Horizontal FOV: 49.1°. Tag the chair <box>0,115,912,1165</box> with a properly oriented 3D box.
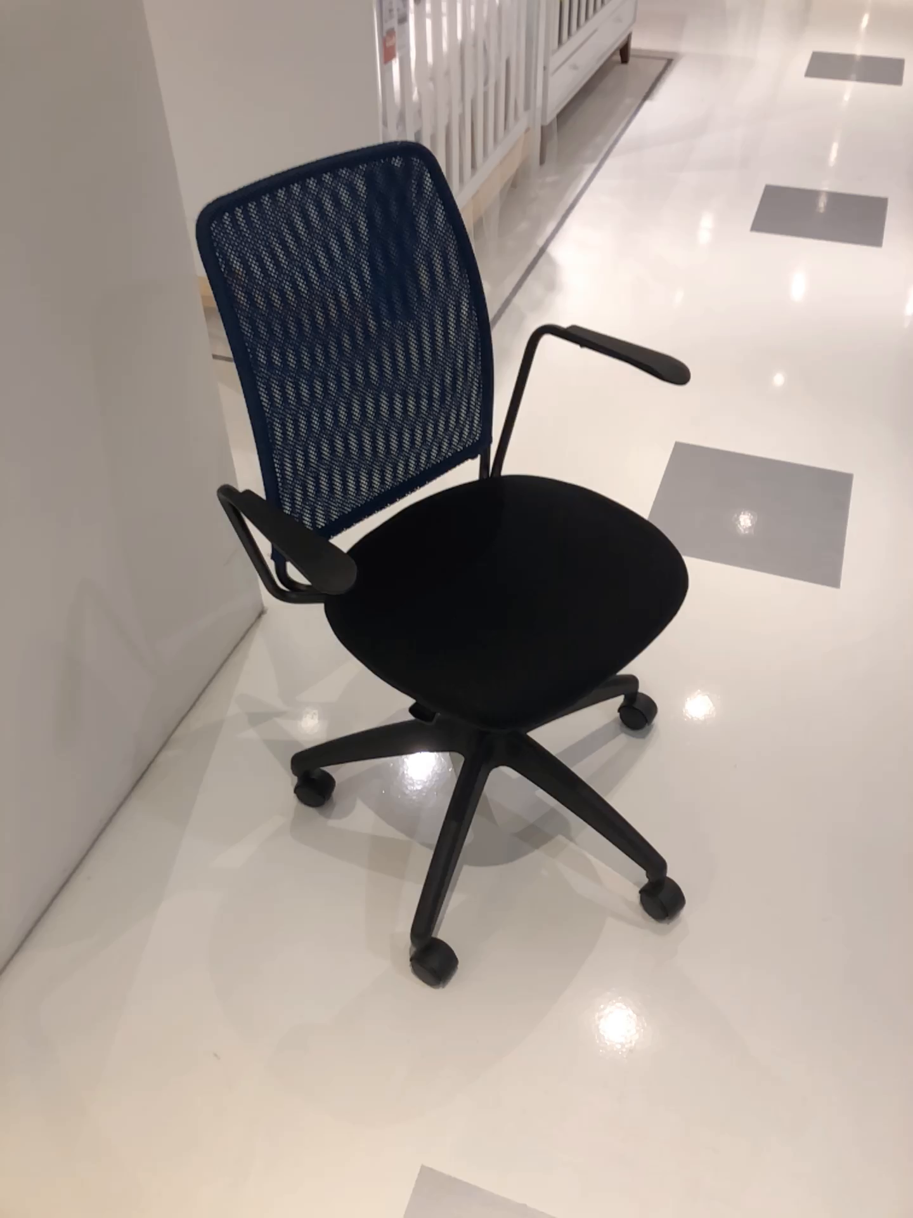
[{"bbox_3d":[0.004,0.014,1.274,0.662,0.923,0.703,-31,51,-30],"label":"chair"}]
